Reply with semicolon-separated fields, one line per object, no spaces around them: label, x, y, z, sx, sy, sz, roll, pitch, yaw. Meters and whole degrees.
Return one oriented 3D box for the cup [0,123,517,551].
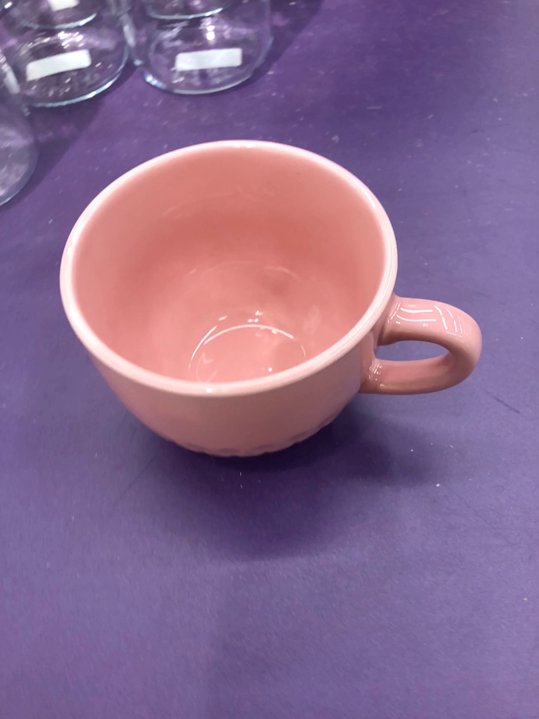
cup;0.001;-0.014;0.208;0.140;0.060;0.110;11;58;12
